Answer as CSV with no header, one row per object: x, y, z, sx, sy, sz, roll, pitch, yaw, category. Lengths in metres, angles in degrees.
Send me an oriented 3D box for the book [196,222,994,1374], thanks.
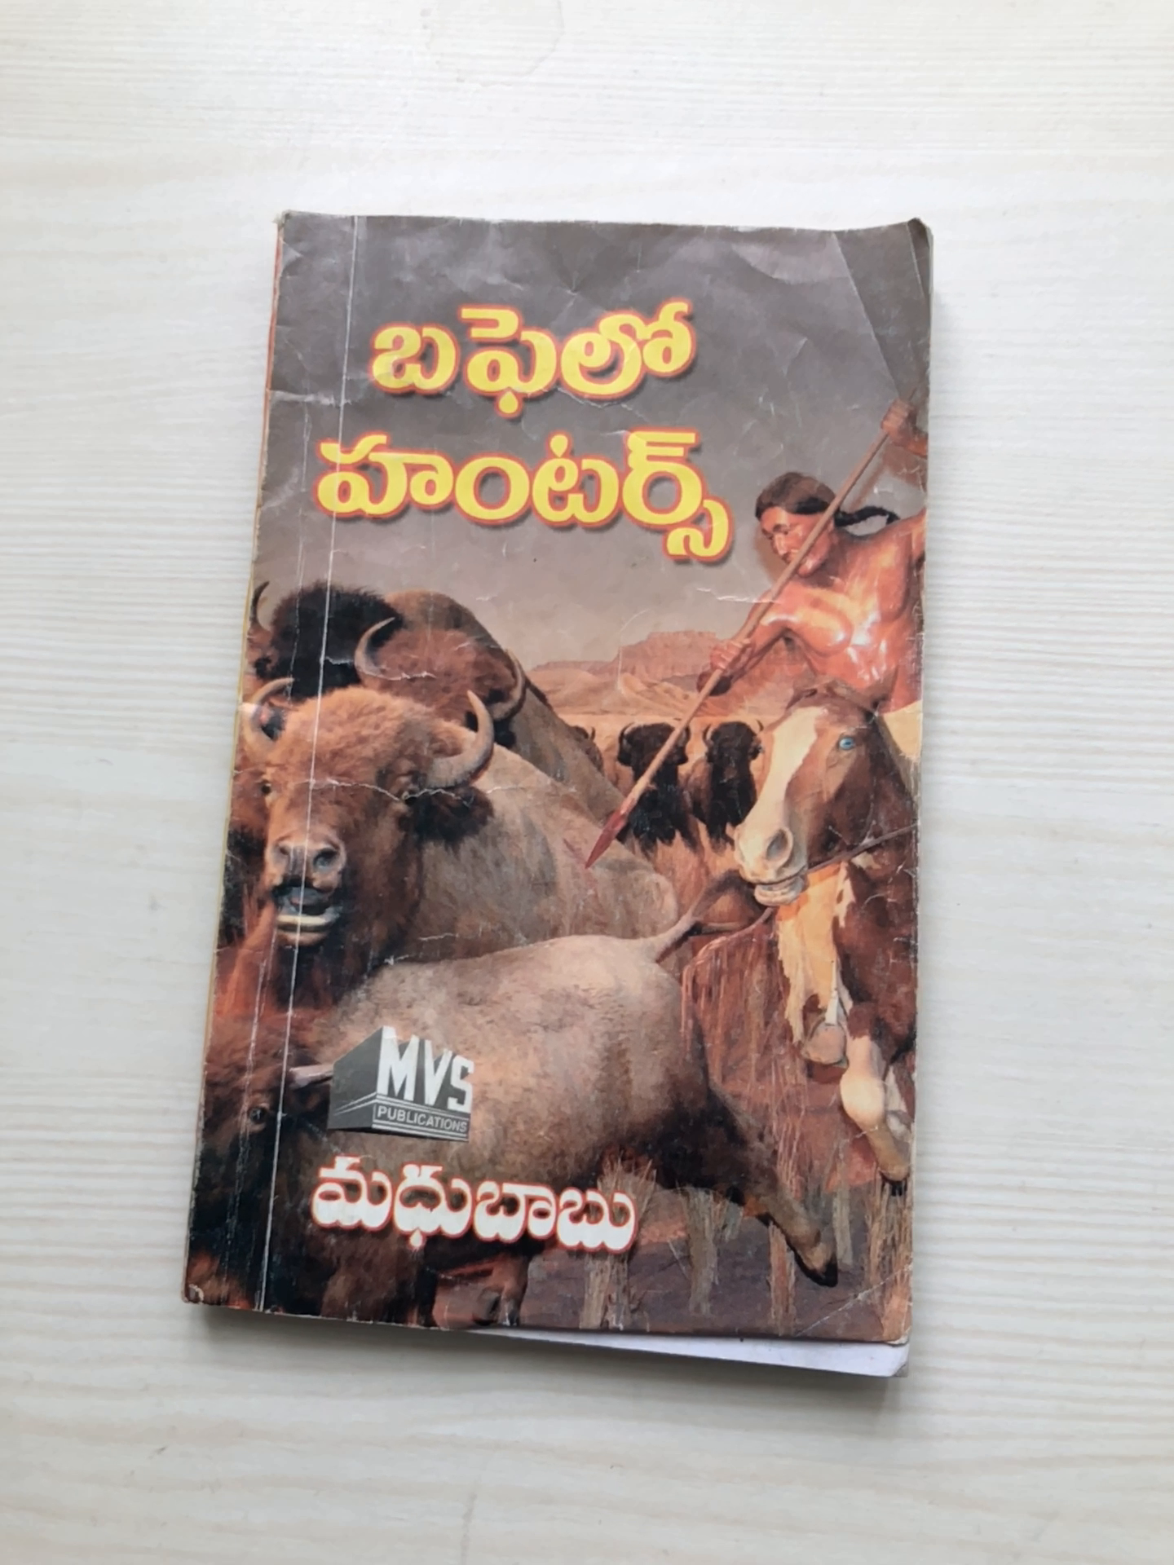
0.002,-0.001,0.187,0.100,0.020,0.150,3,87,5,book
